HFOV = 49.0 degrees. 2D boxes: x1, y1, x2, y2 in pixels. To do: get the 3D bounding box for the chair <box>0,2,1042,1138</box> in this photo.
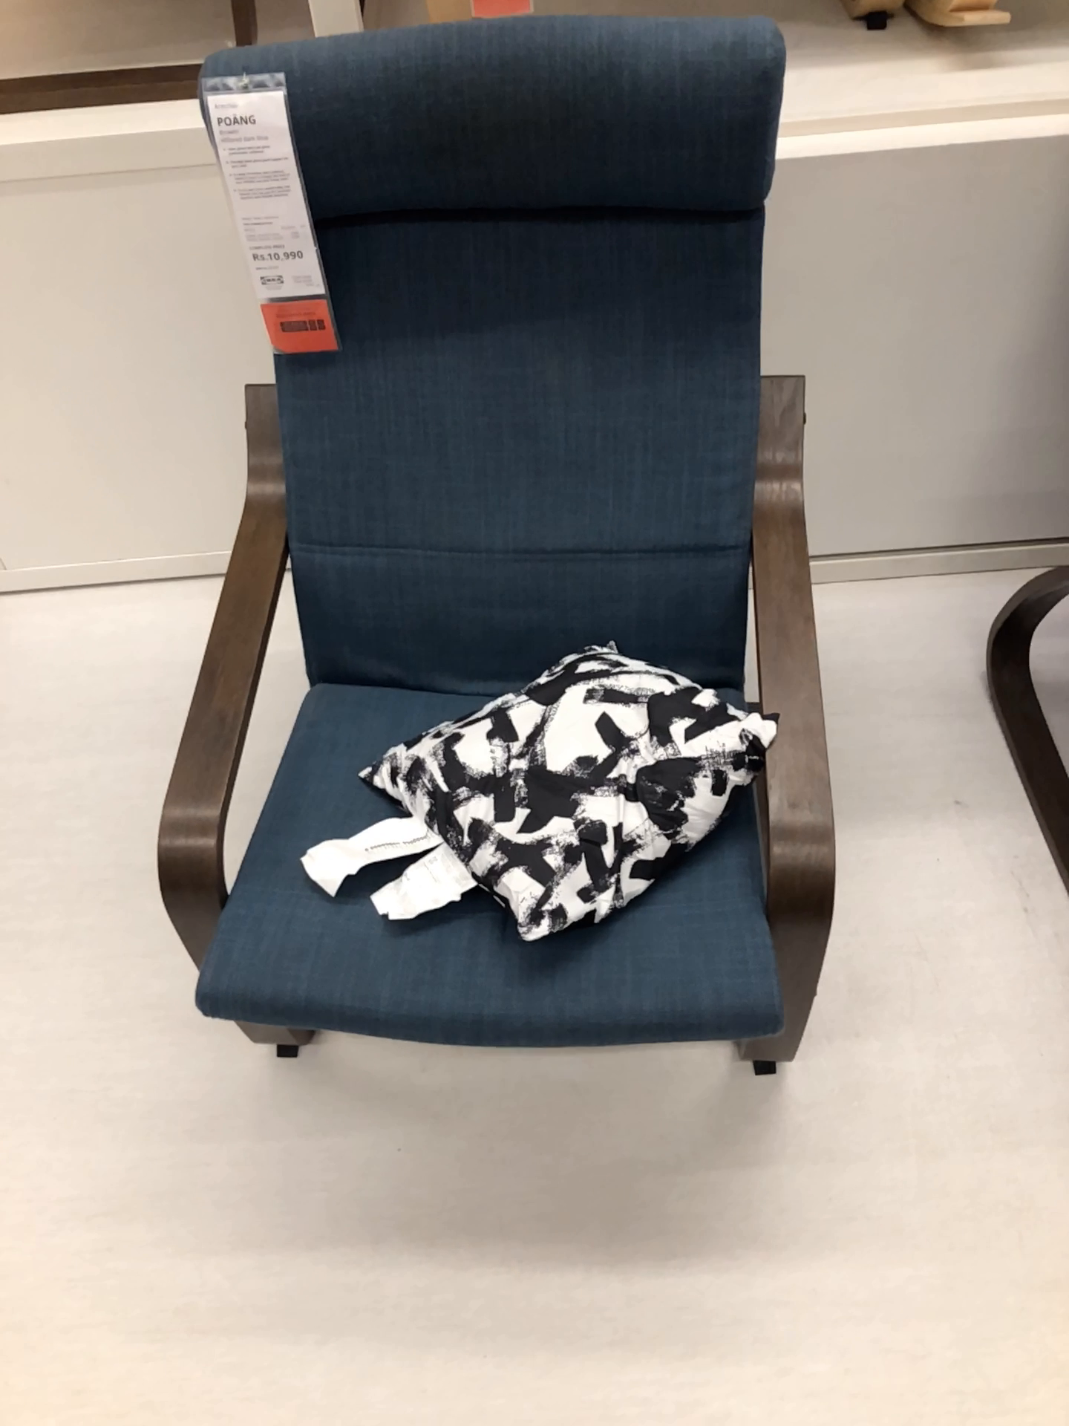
[{"bbox_3d":[-0.033,-0.098,1.205,0.720,0.884,0.694,2,50,6],"label":"chair"}]
